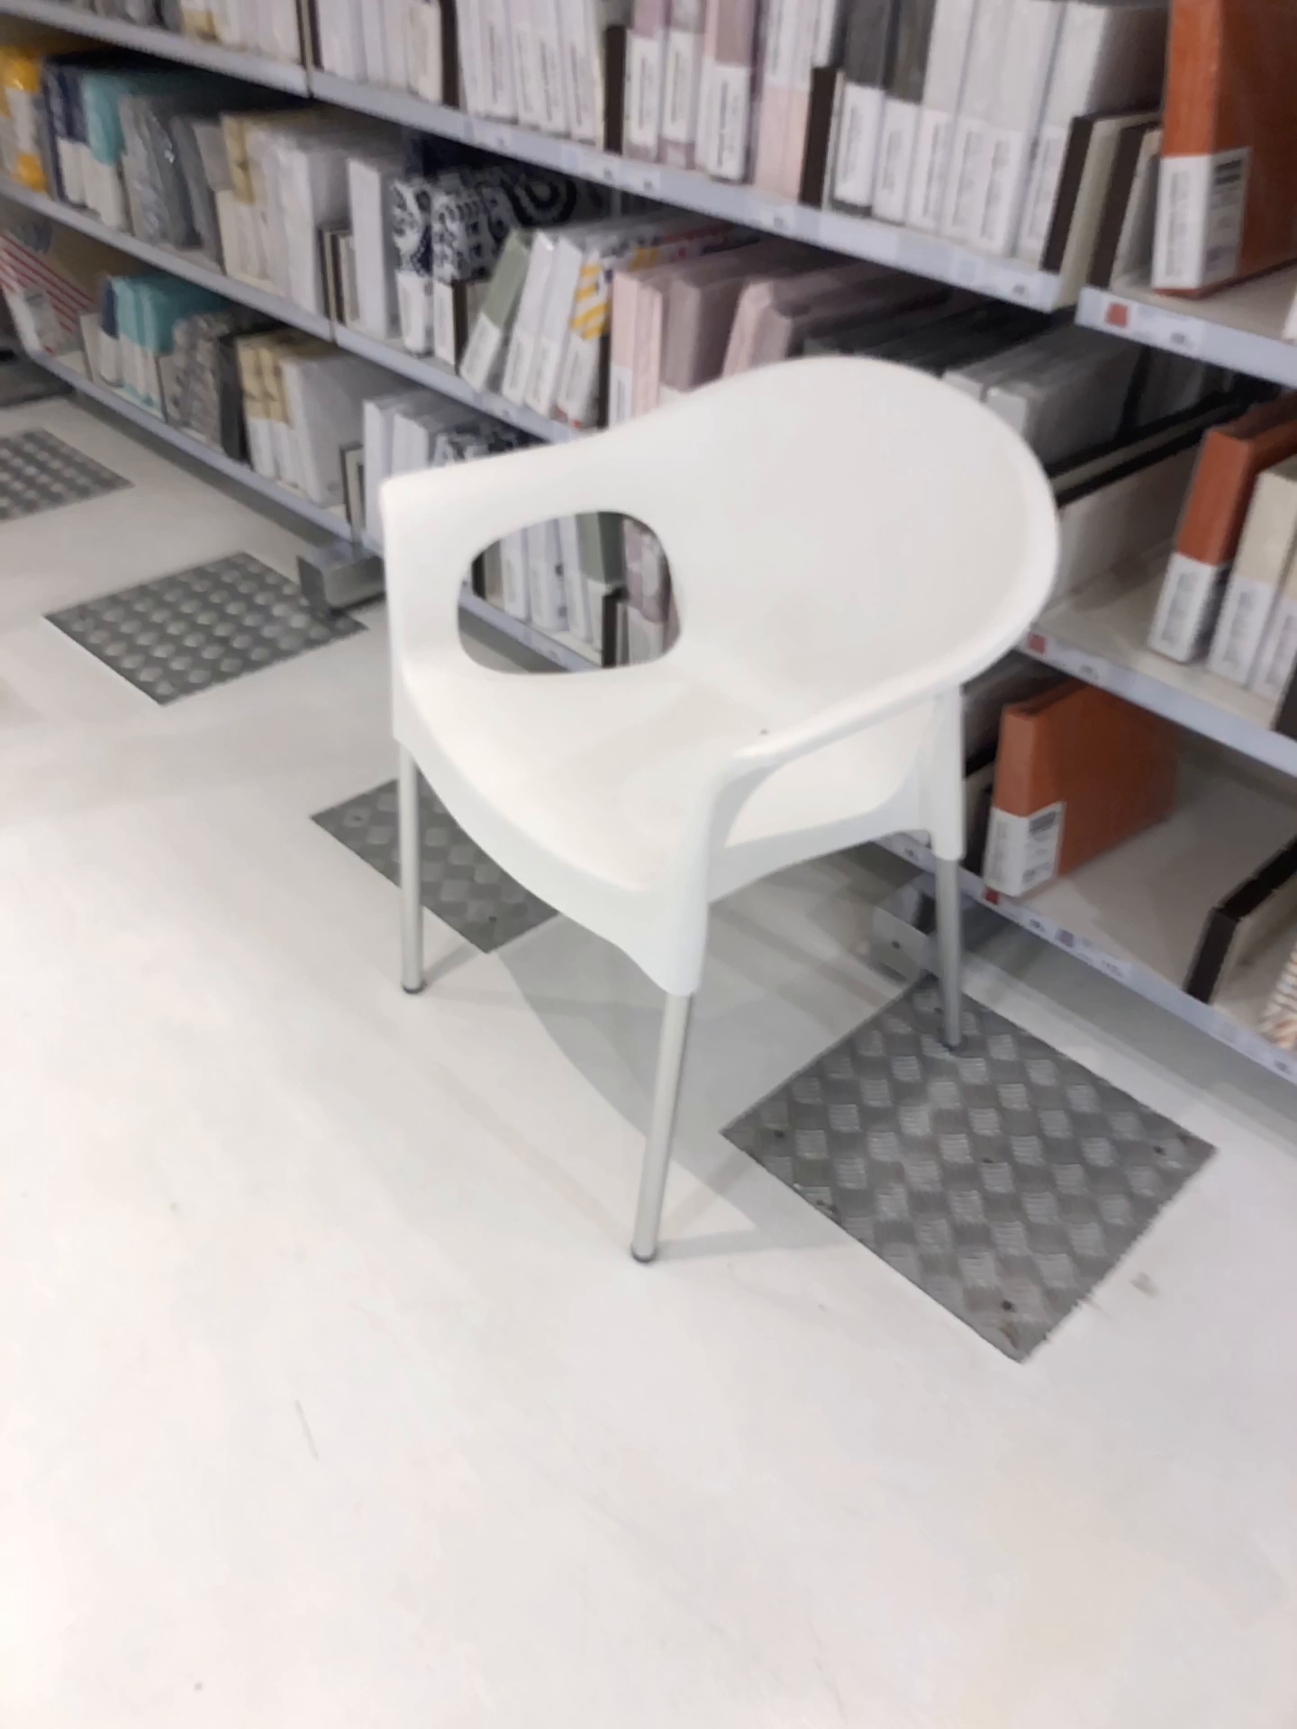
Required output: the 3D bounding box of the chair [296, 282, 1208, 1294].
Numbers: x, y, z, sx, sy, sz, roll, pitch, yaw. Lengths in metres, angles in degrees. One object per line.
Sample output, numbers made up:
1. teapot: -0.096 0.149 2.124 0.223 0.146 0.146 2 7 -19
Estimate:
1. chair: 0.062 -0.118 1.464 0.552 0.704 0.593 -22 44 -29
